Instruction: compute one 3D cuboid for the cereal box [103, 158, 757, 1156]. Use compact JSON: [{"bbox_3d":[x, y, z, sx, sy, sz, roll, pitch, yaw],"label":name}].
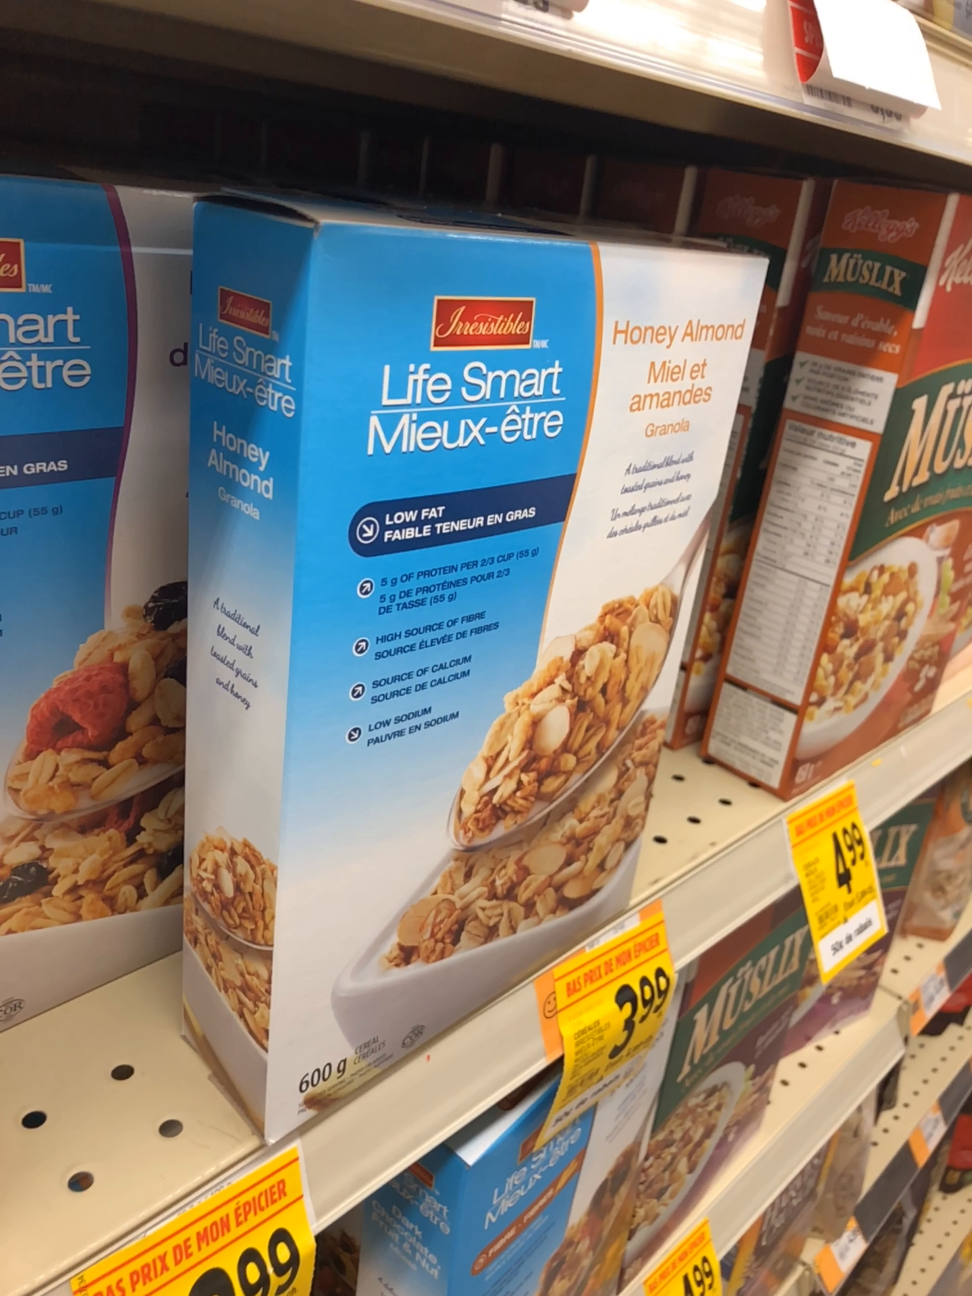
[{"bbox_3d":[-0.018,-0.002,0.318,0.060,0.238,0.171,27,30,36],"label":"cereal box"}]
